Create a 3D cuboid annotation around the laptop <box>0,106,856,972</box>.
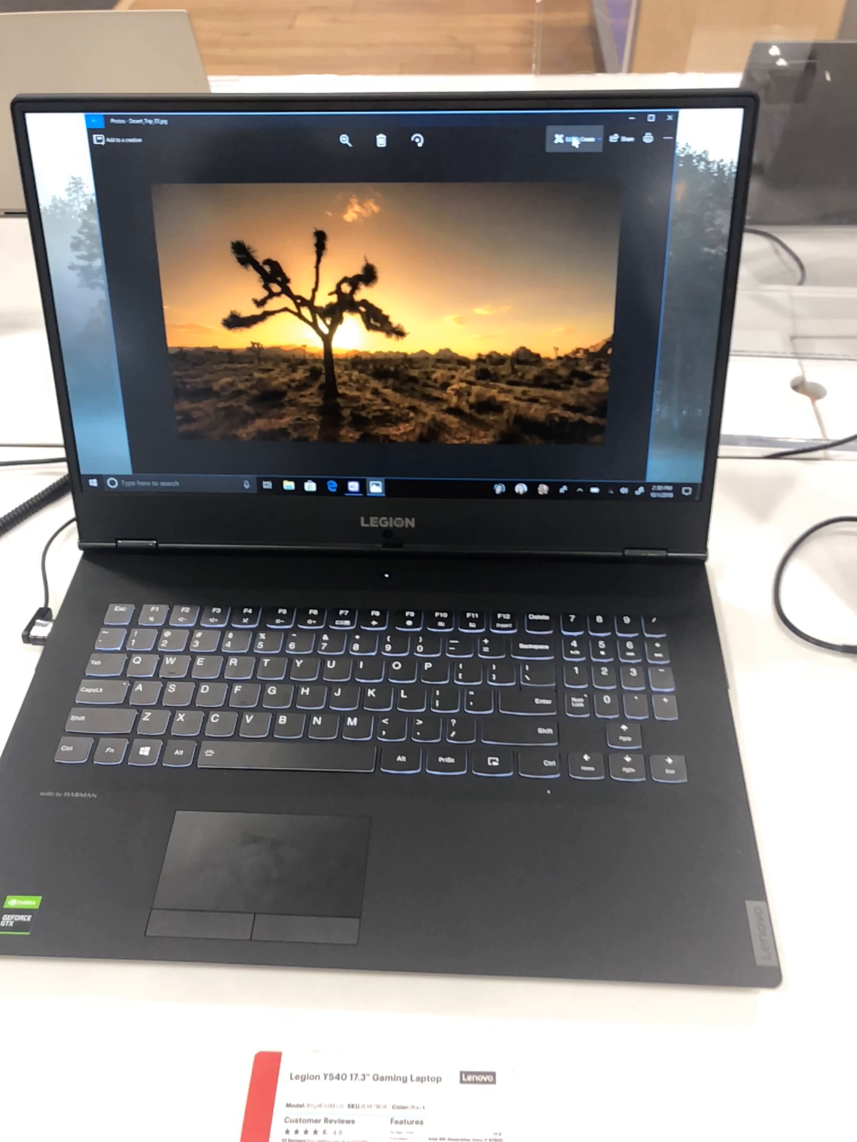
[{"bbox_3d":[-0.037,-0.034,0.473,0.382,0.241,0.359,1,47,2],"label":"laptop"}]
